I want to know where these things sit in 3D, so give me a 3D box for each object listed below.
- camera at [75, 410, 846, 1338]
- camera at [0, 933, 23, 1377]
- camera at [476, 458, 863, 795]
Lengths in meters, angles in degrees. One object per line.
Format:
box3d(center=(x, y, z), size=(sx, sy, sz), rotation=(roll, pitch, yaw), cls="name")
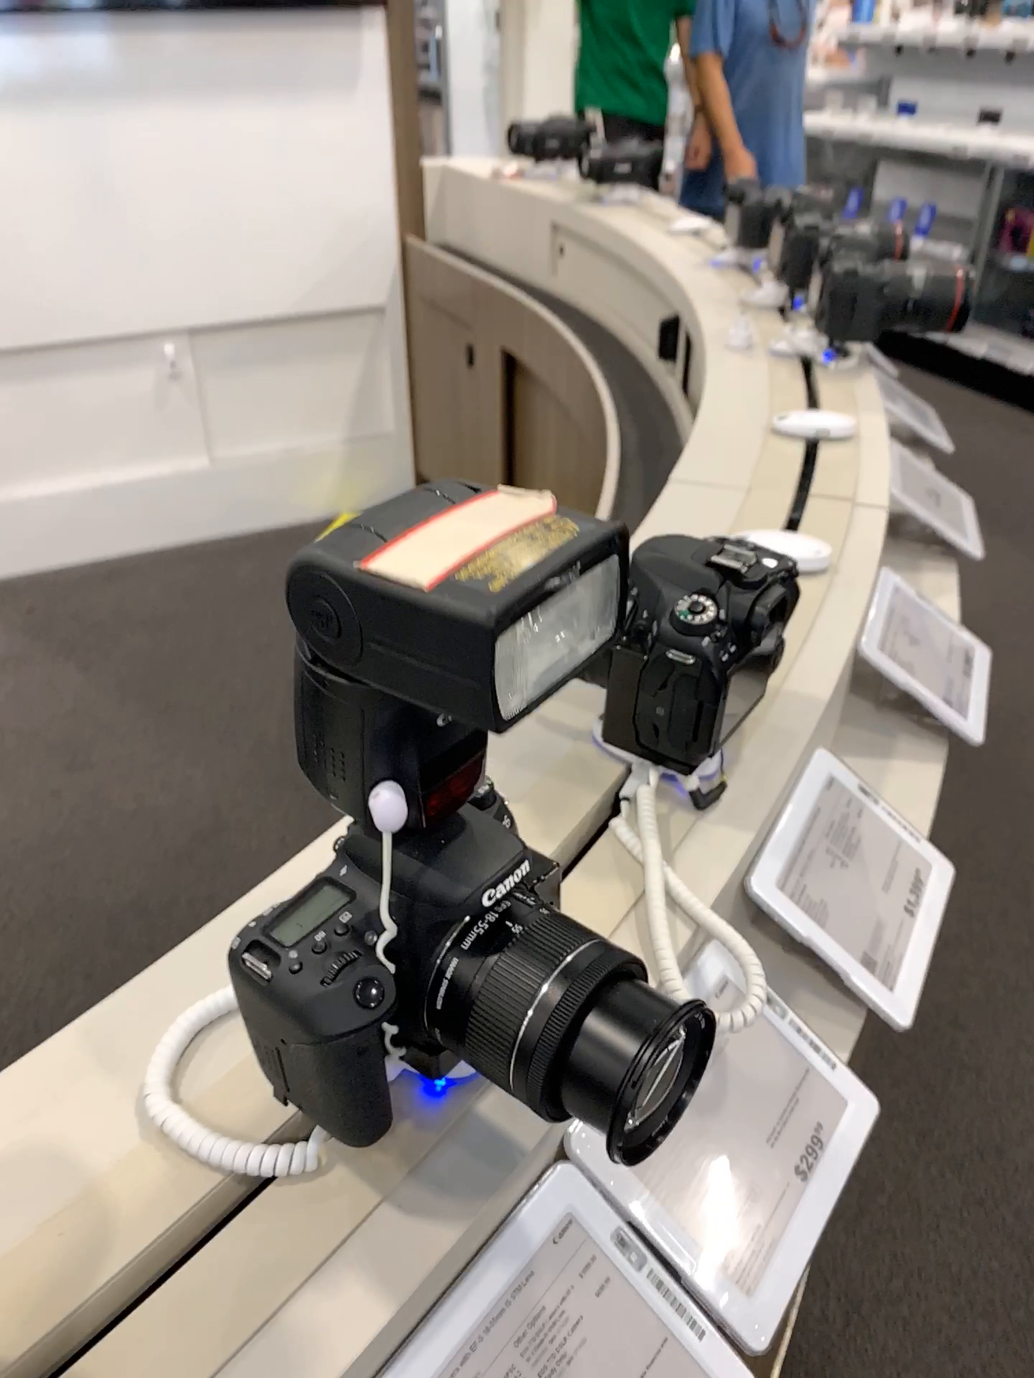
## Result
box3d(center=(-0.017, 0.053, 0.376), size=(0.176, 0.232, 0.140), rotation=(25, 41, 32), cls="camera")
box3d(center=(-0.262, 0.186, 0.304), size=(0.166, 0.103, 0.140), rotation=(25, 41, 32), cls="camera")
box3d(center=(0.086, -0.046, 0.621), size=(0.166, 0.103, 0.140), rotation=(22, 39, 29), cls="camera")
